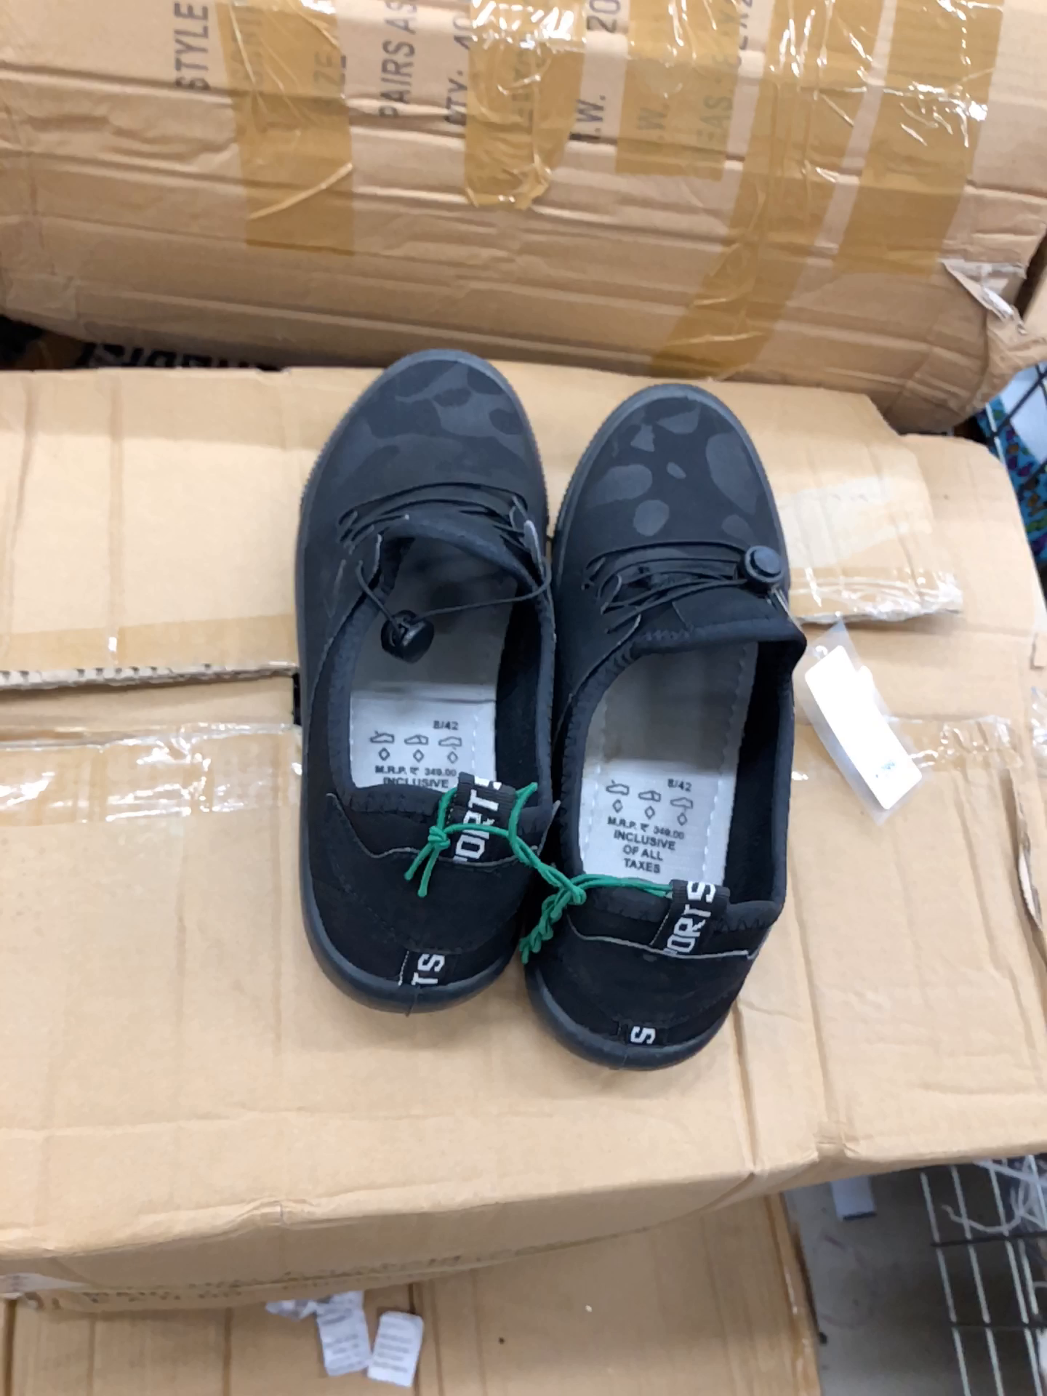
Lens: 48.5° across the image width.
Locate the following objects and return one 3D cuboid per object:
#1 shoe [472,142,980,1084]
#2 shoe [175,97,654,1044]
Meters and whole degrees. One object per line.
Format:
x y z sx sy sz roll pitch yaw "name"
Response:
0.059 -0.037 0.436 0.120 0.129 0.321 7 61 -8 "shoe"
-0.033 -0.050 0.422 0.120 0.129 0.311 6 61 -8 "shoe"
